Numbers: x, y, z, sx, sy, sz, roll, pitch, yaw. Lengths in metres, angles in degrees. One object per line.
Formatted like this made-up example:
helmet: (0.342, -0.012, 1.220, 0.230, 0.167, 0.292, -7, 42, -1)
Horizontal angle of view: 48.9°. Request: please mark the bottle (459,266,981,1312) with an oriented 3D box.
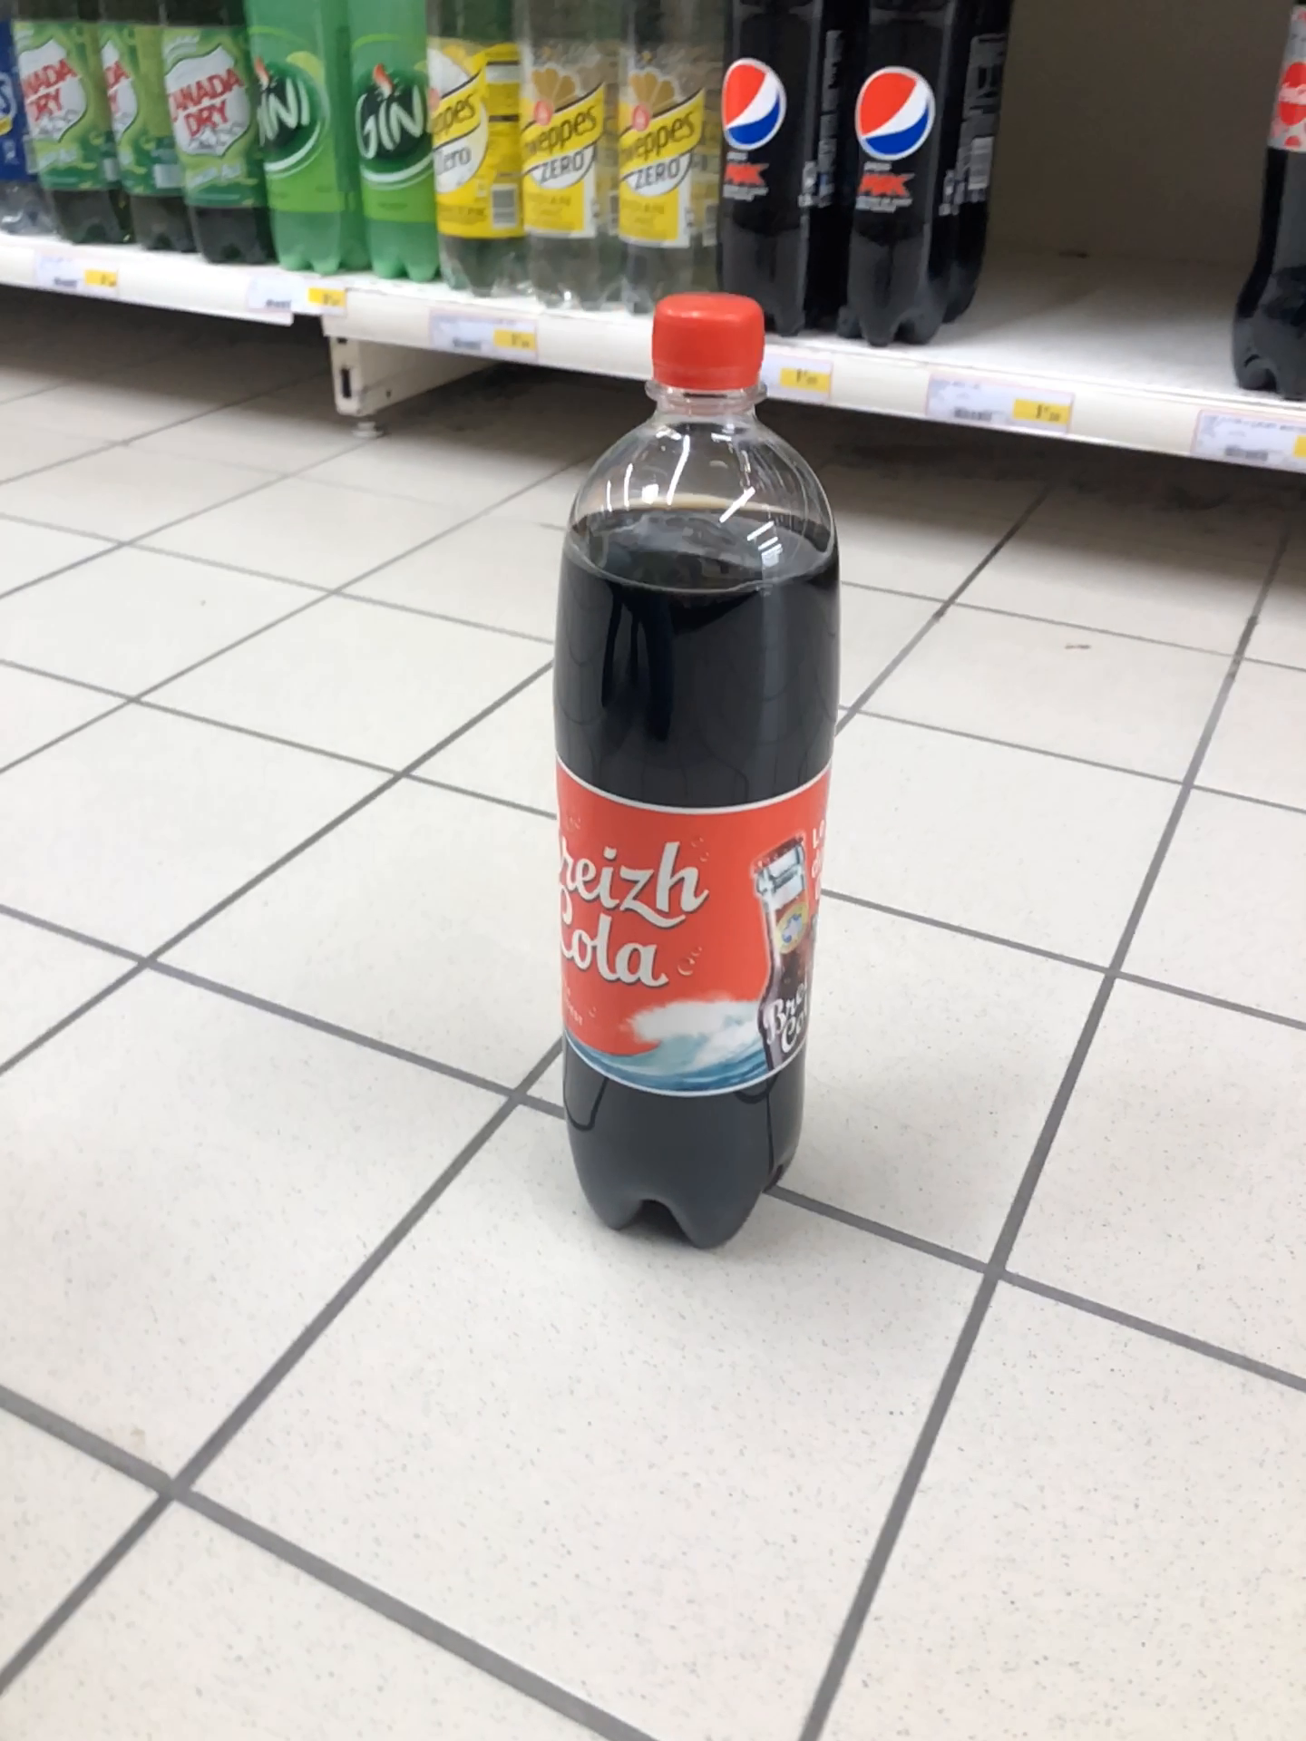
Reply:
bottle: (0.013, -0.019, 0.464, 0.100, 0.308, 0.100, 1, 31, -1)
